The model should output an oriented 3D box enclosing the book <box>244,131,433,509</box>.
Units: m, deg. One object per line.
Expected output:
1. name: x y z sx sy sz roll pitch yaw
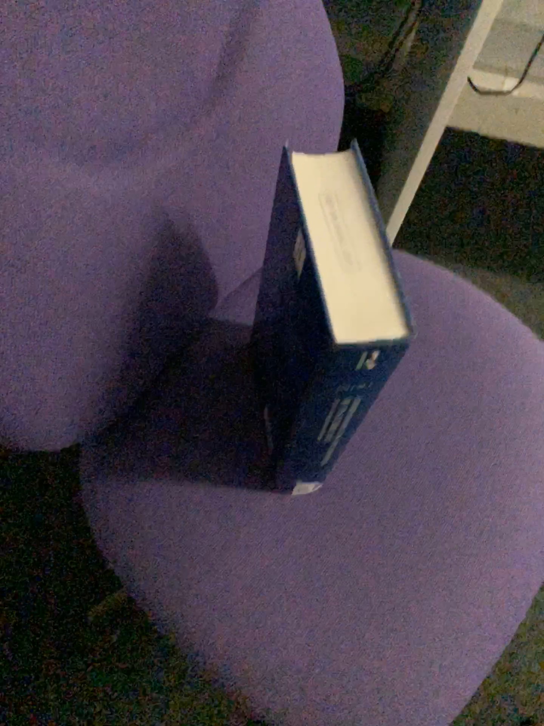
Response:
1. book: 0.027 -0.012 0.444 0.052 0.264 0.183 -2 61 -11
